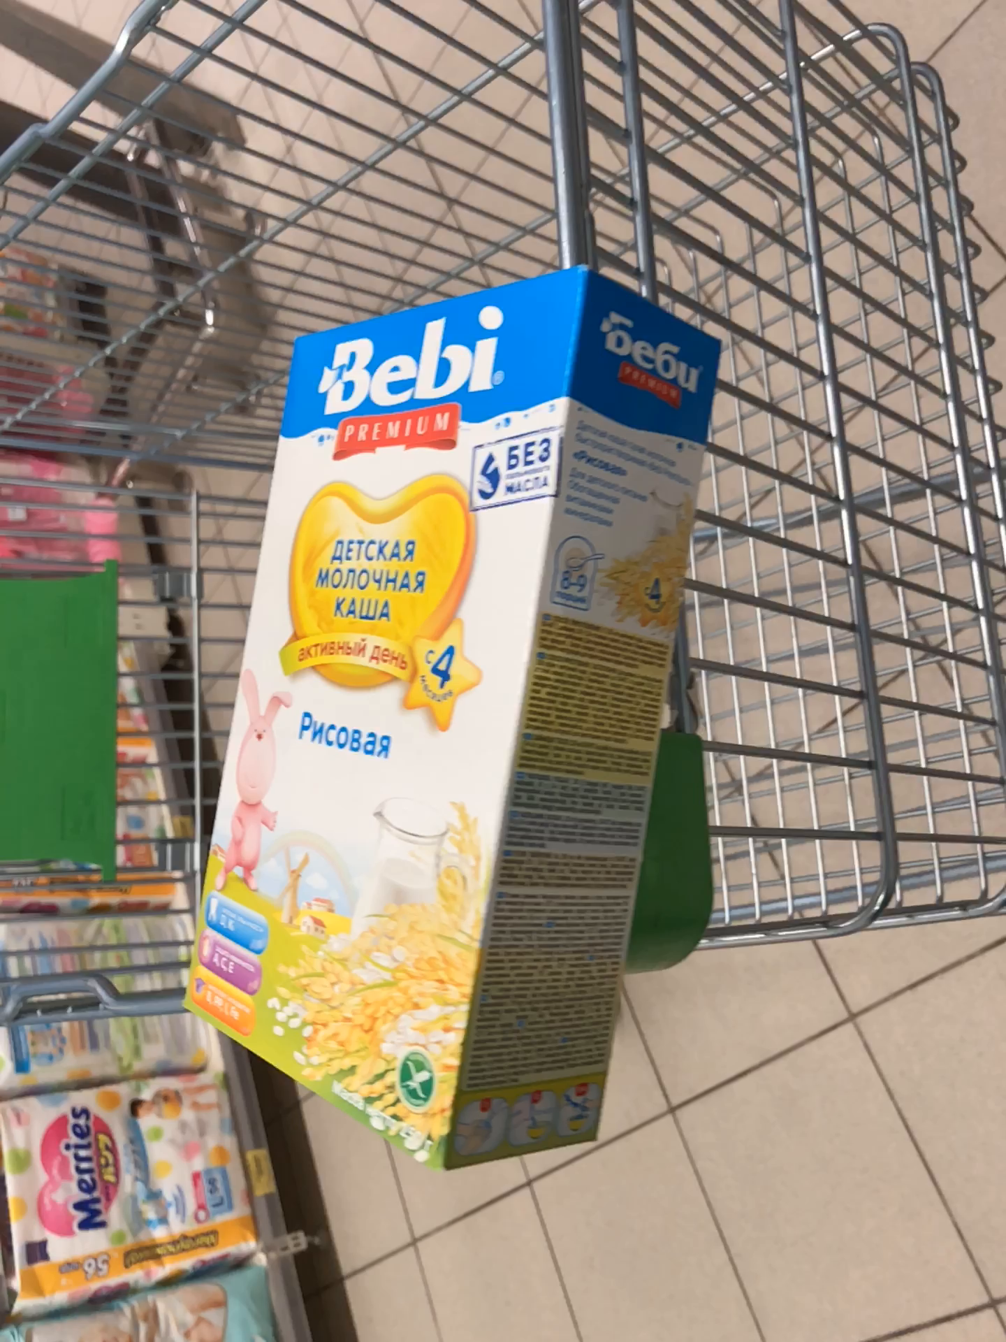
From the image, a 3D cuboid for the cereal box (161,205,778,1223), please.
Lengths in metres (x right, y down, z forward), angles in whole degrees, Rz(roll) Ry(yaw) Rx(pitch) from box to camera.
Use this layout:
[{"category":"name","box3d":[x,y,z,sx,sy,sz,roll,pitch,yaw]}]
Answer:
[{"category":"cereal box","box3d":[-0.020,0.005,0.300,0.151,0.050,0.210,8,87,51]}]
